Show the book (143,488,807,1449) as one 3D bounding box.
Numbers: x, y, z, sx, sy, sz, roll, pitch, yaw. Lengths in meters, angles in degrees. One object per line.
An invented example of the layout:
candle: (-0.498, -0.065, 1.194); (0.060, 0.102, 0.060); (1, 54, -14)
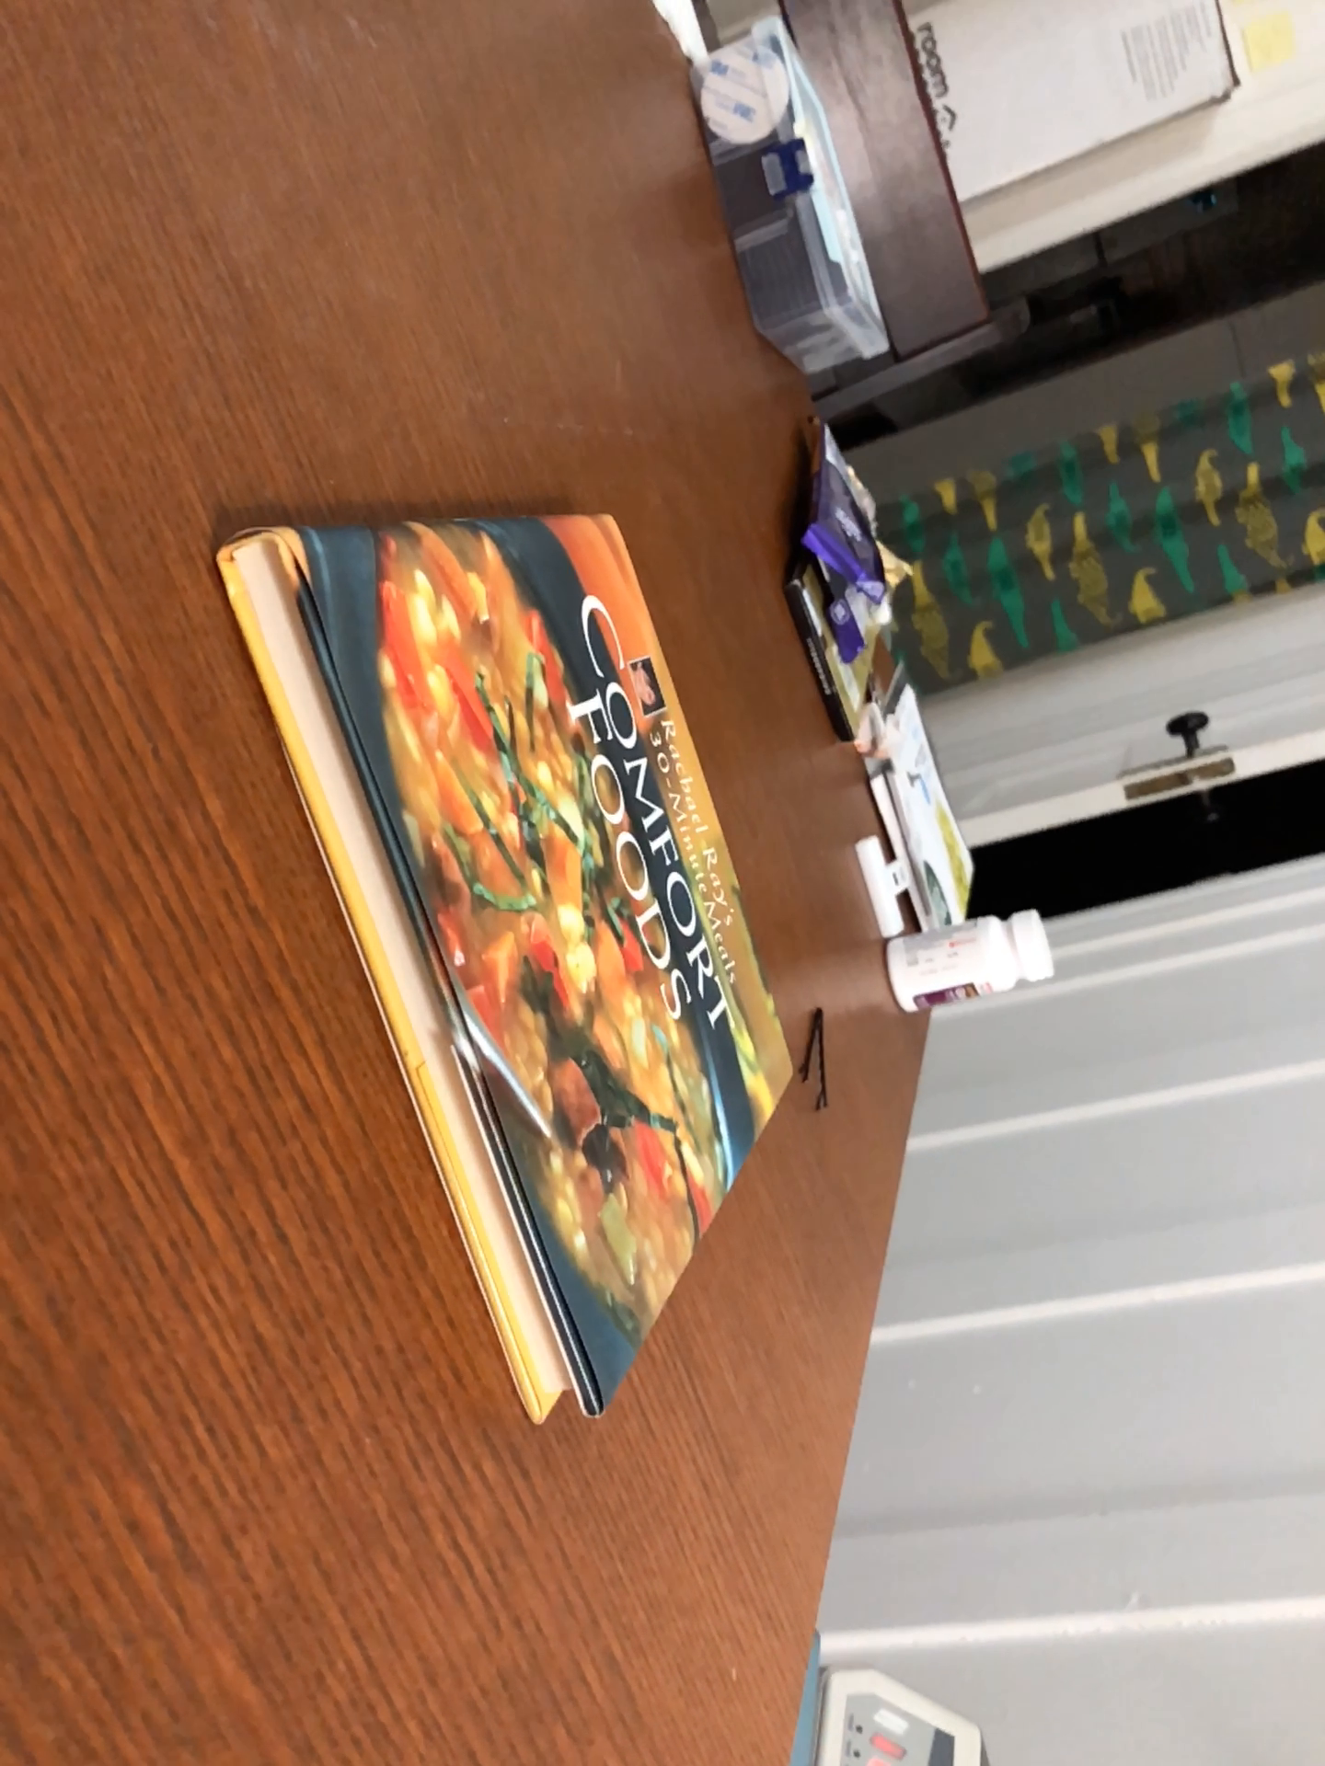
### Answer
book: (-0.026, -0.002, 0.391); (0.211, 0.030, 0.200); (-40, 114, -68)
